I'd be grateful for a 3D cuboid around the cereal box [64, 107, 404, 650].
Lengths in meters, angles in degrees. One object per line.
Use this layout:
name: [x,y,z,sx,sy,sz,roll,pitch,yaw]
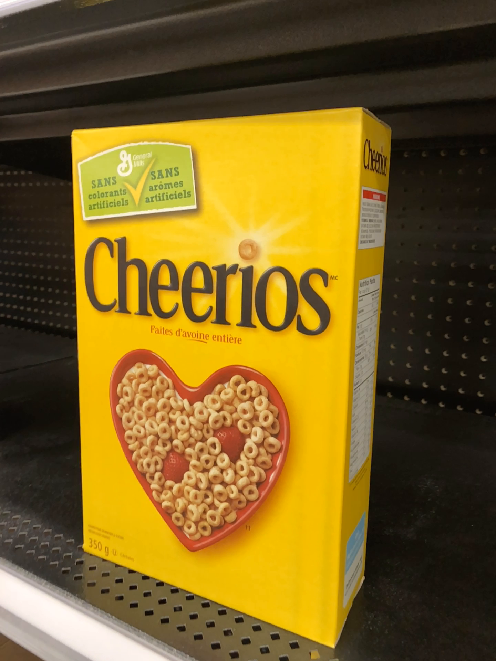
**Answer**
cereal box: [-0.017,0.022,0.386,0.210,0.309,0.080,7,11,27]
